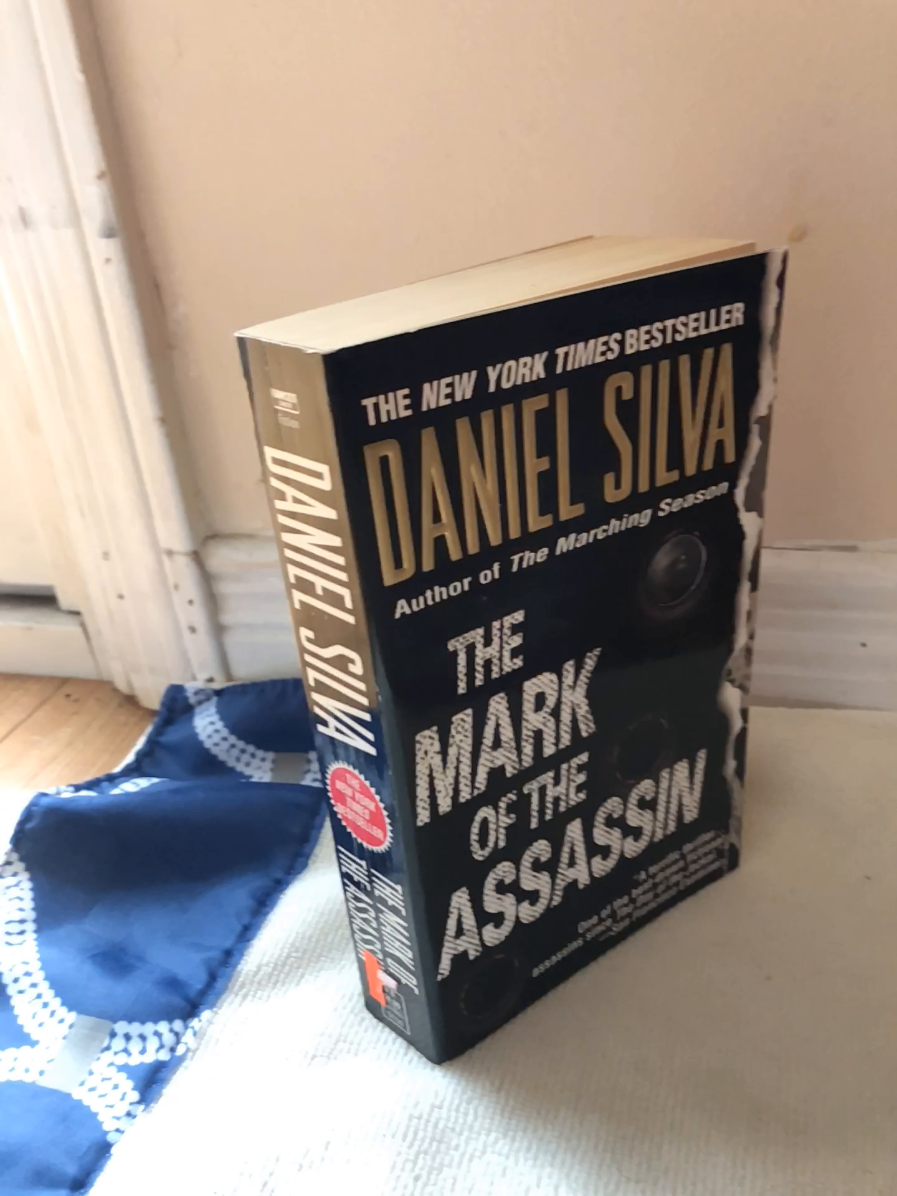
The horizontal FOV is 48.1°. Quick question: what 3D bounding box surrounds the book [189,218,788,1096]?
[{"bbox_3d":[0.022,0.009,0.237,0.119,0.169,0.045,-24,30,-31],"label":"book"}]
